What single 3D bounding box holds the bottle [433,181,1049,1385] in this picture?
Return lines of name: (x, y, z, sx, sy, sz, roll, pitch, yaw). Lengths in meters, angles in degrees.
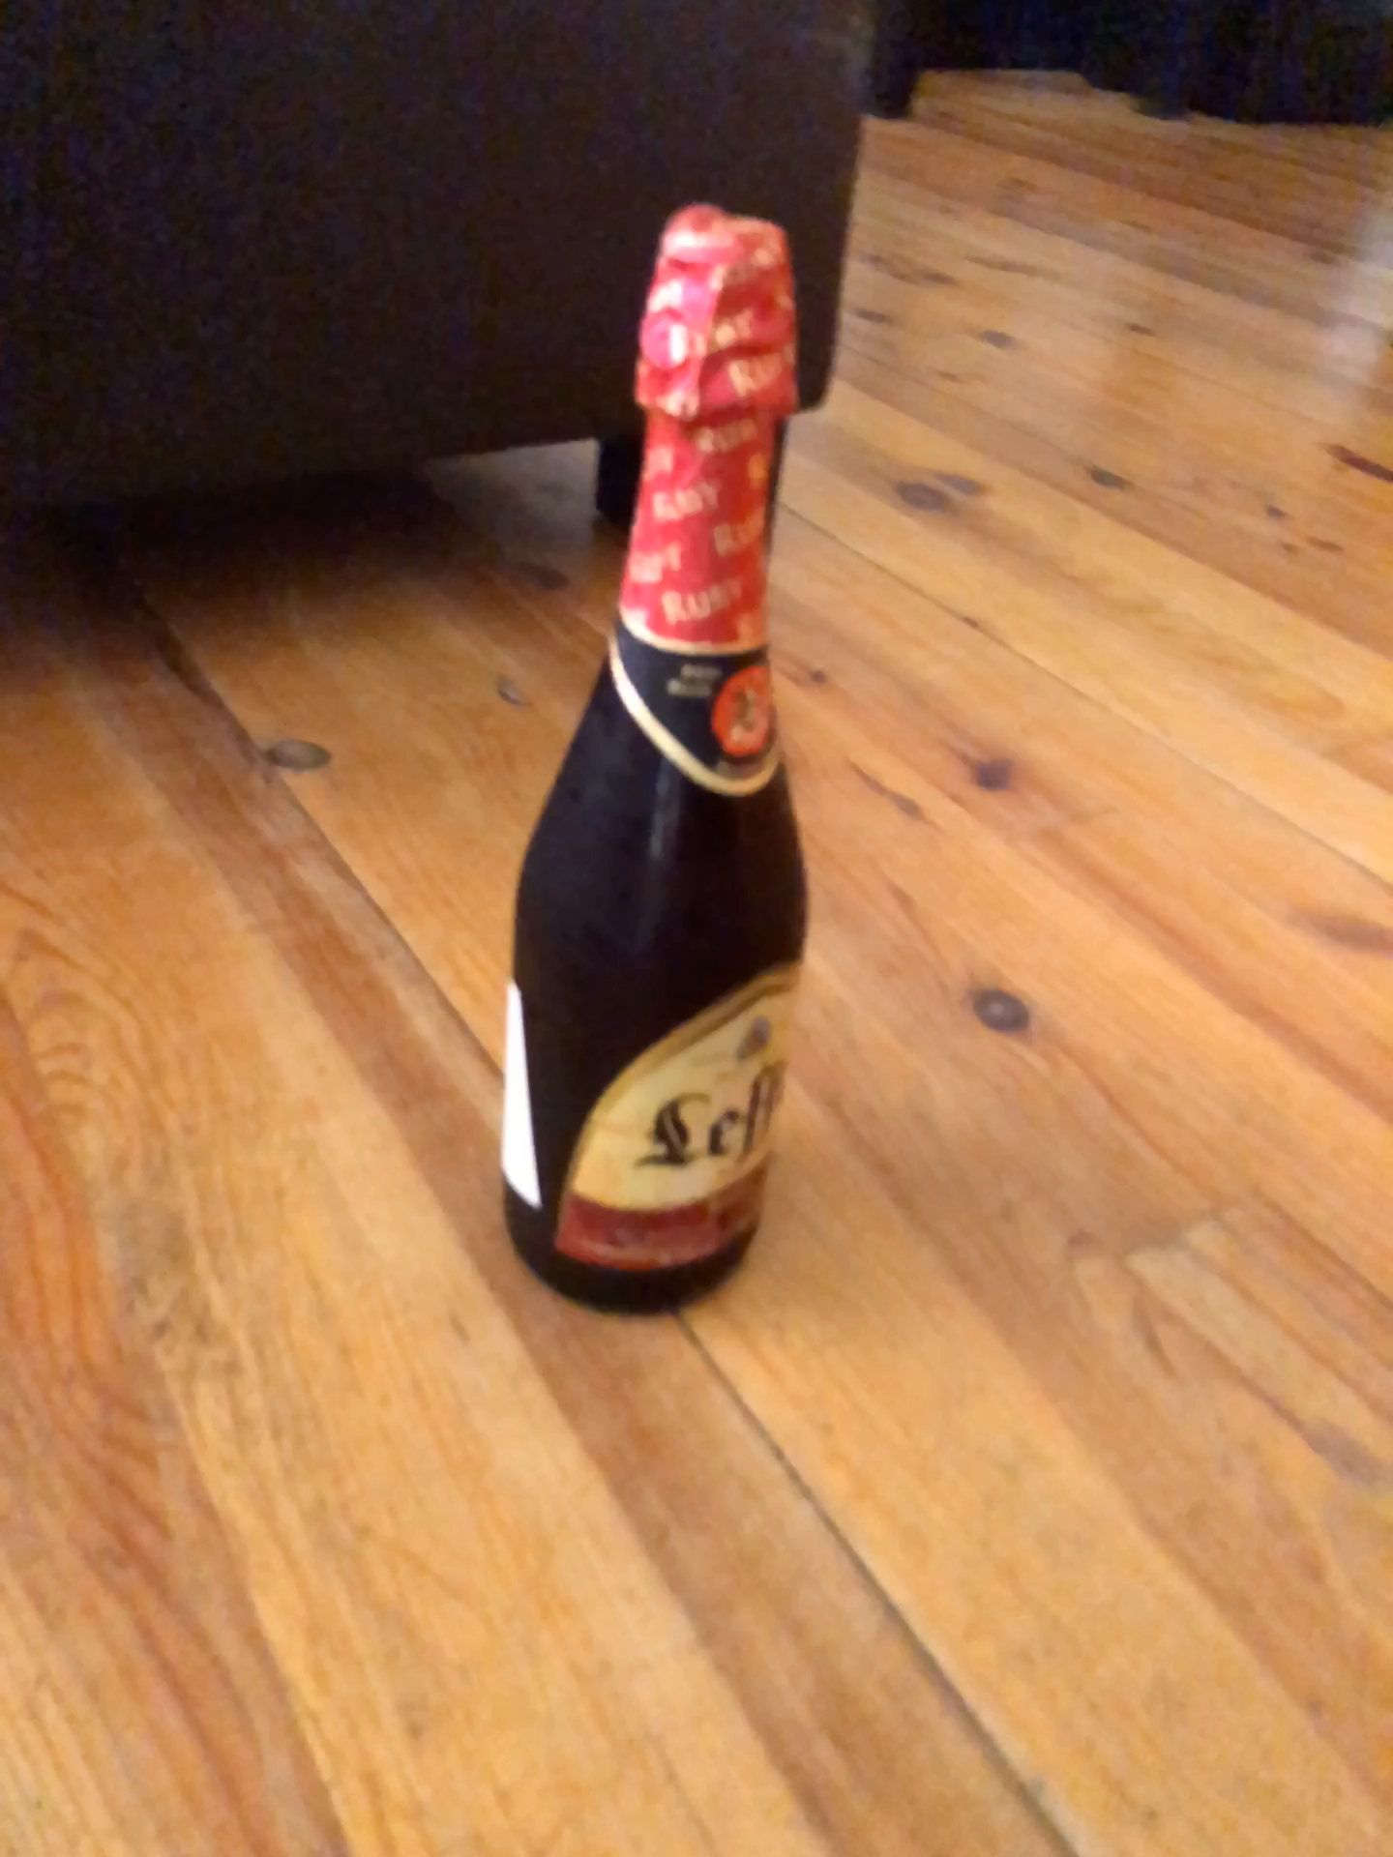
bottle: (-0.004, -0.025, 0.392, 0.090, 0.288, 0.090, 4, 36, -3)
